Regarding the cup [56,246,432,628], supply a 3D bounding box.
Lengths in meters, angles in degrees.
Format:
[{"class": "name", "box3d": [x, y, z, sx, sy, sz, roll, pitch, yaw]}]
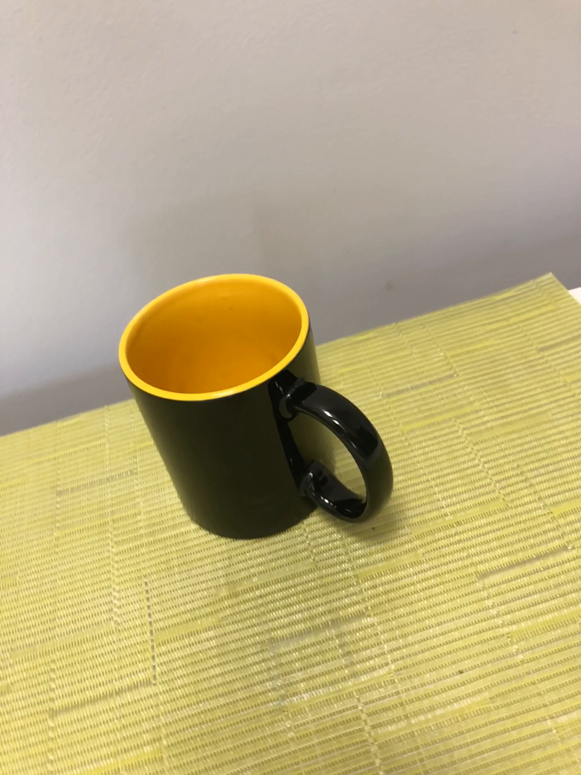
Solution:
[{"class": "cup", "box3d": [-0.012, 0.016, 0.287, 0.119, 0.104, 0.088, 20, 51, 30]}]
